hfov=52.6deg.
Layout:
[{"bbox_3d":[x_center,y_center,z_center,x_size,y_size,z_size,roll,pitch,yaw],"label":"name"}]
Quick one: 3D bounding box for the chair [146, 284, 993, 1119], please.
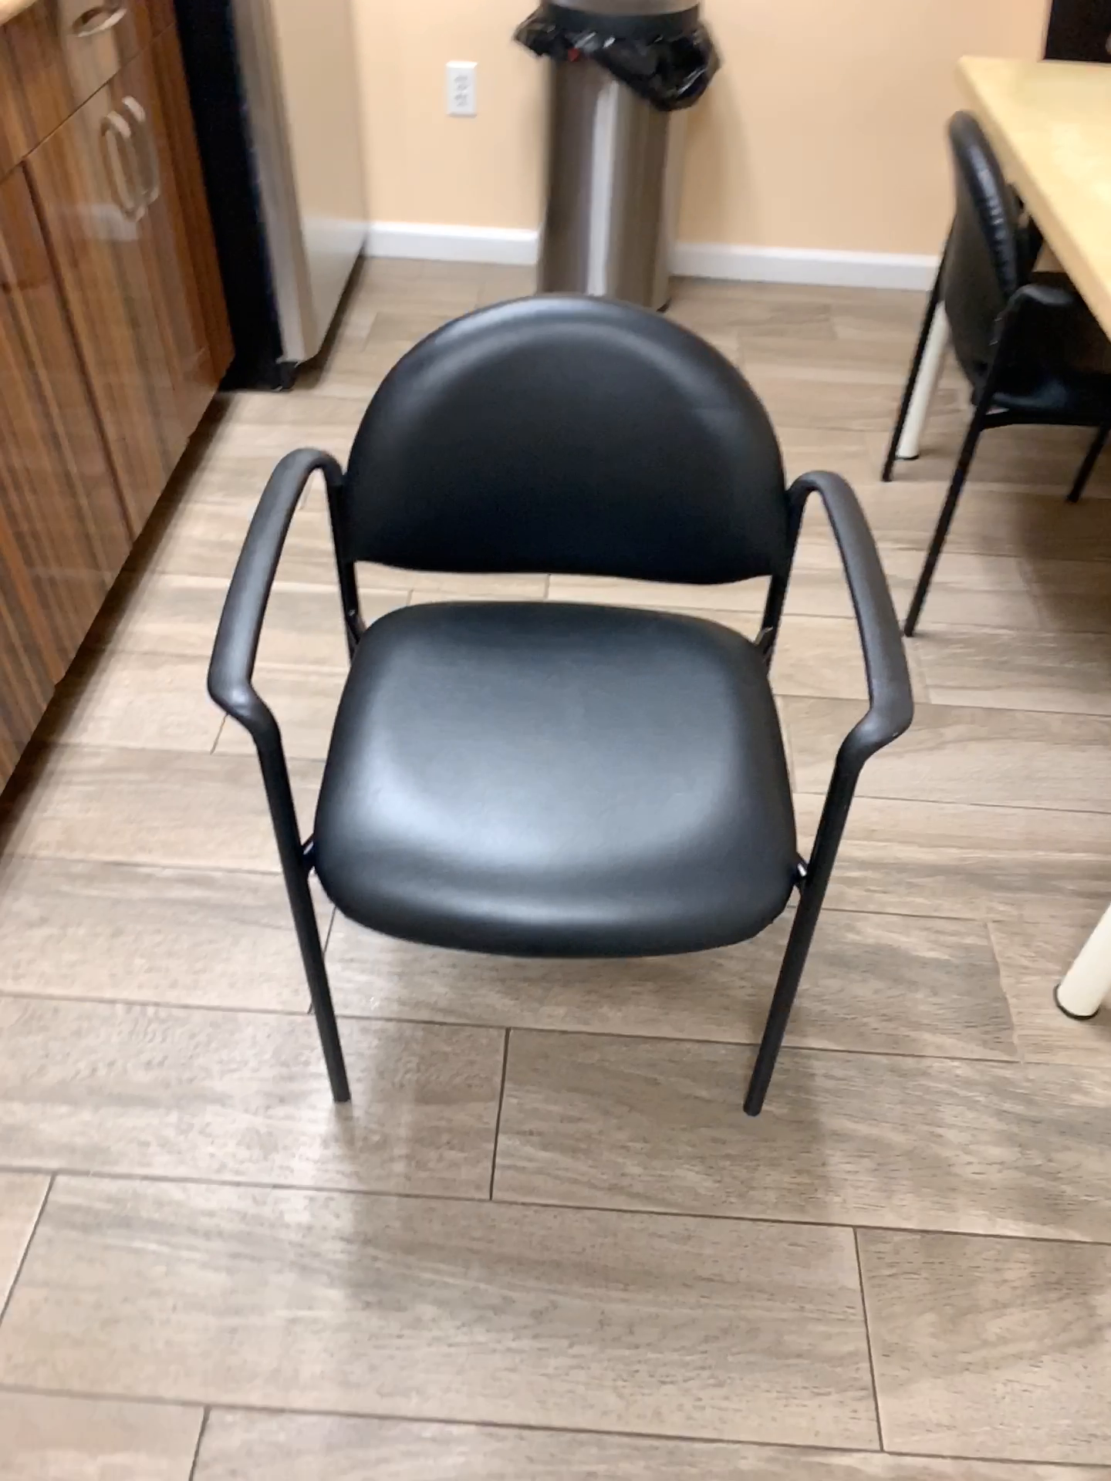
[{"bbox_3d":[-0.002,-0.010,1.228,0.590,0.736,0.523,2,45,-2],"label":"chair"}]
